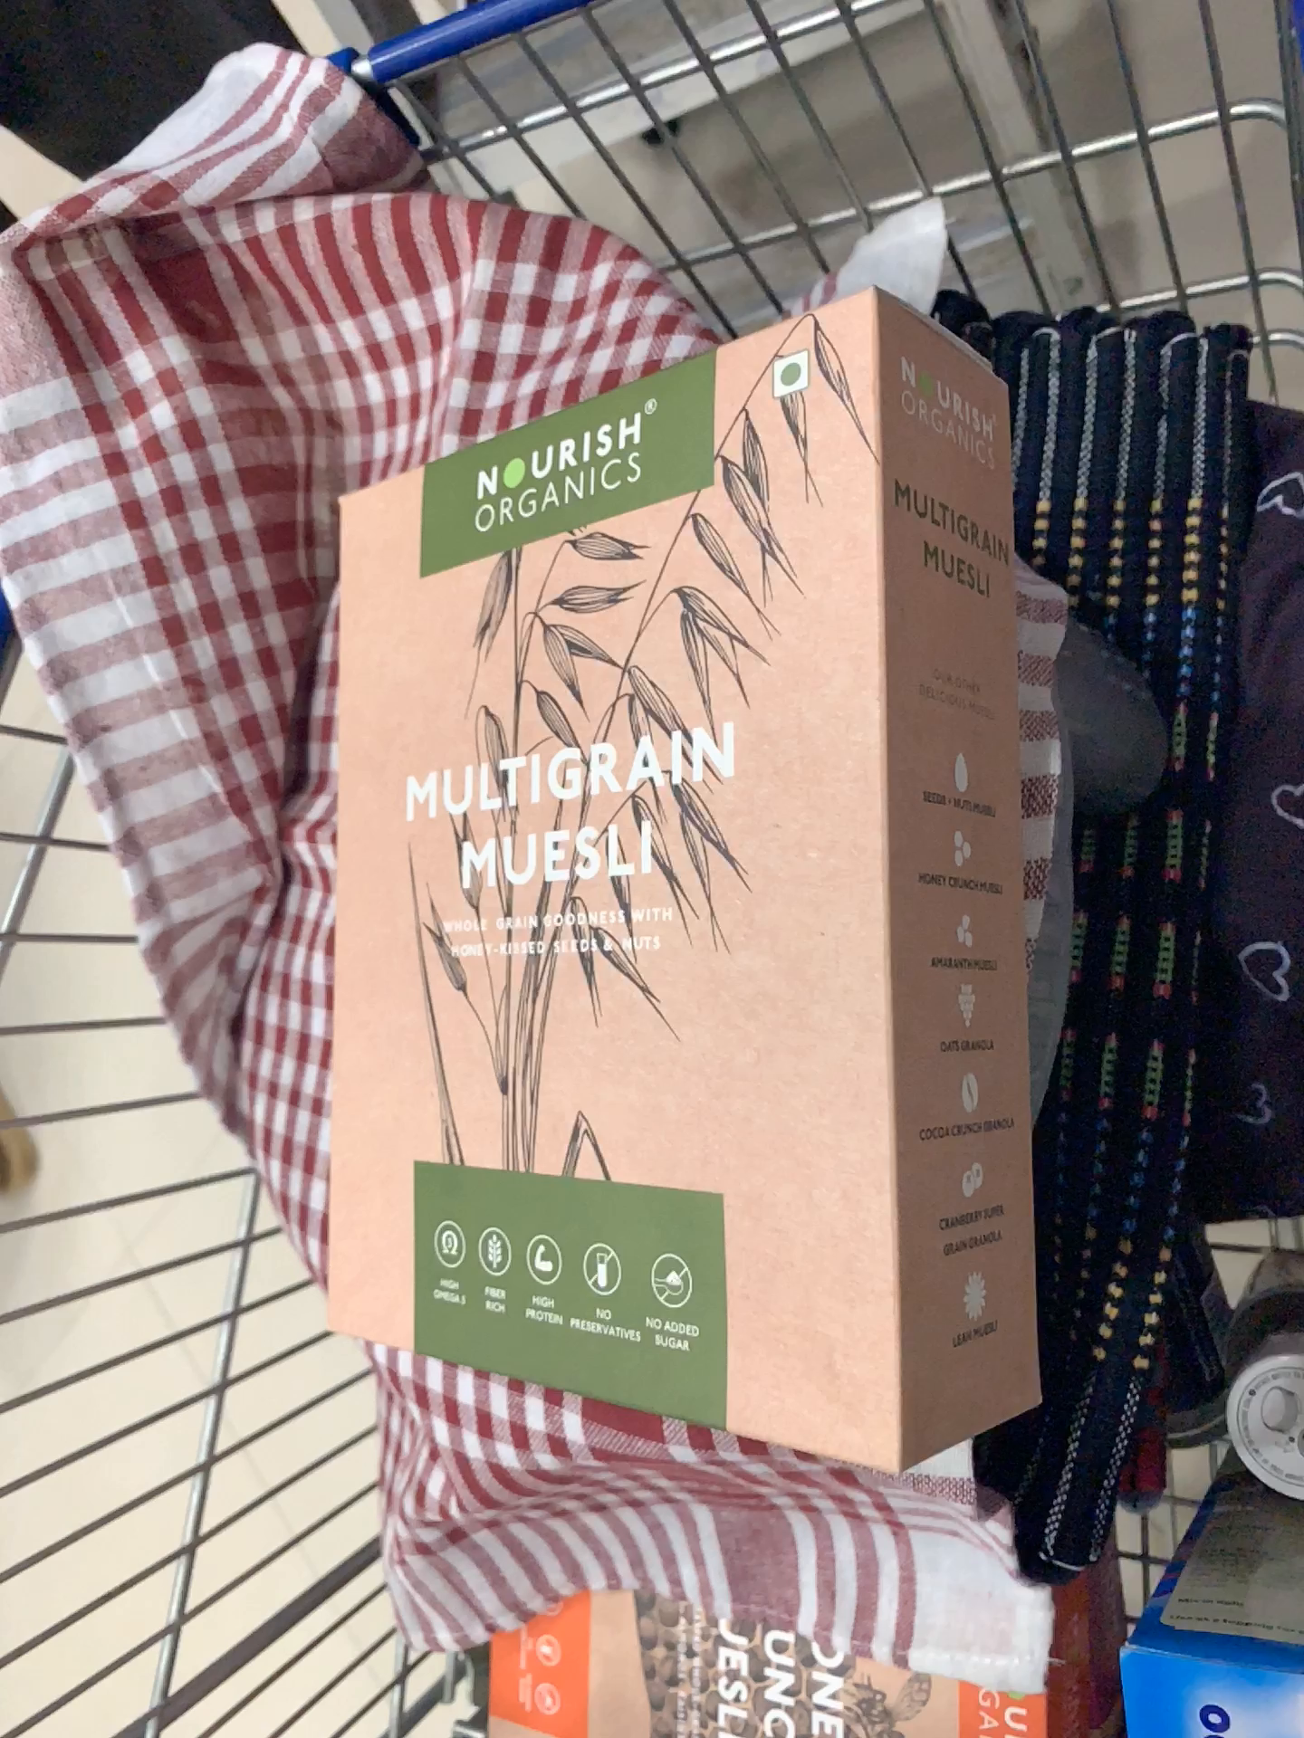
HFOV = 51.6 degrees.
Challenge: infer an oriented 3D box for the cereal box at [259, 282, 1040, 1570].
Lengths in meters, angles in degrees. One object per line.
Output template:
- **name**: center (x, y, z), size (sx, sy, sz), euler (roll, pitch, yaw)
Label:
- **cereal box**: center (-0.010, 0.011, 0.279), size (0.161, 0.050, 0.200), euler (-5, 83, 39)
